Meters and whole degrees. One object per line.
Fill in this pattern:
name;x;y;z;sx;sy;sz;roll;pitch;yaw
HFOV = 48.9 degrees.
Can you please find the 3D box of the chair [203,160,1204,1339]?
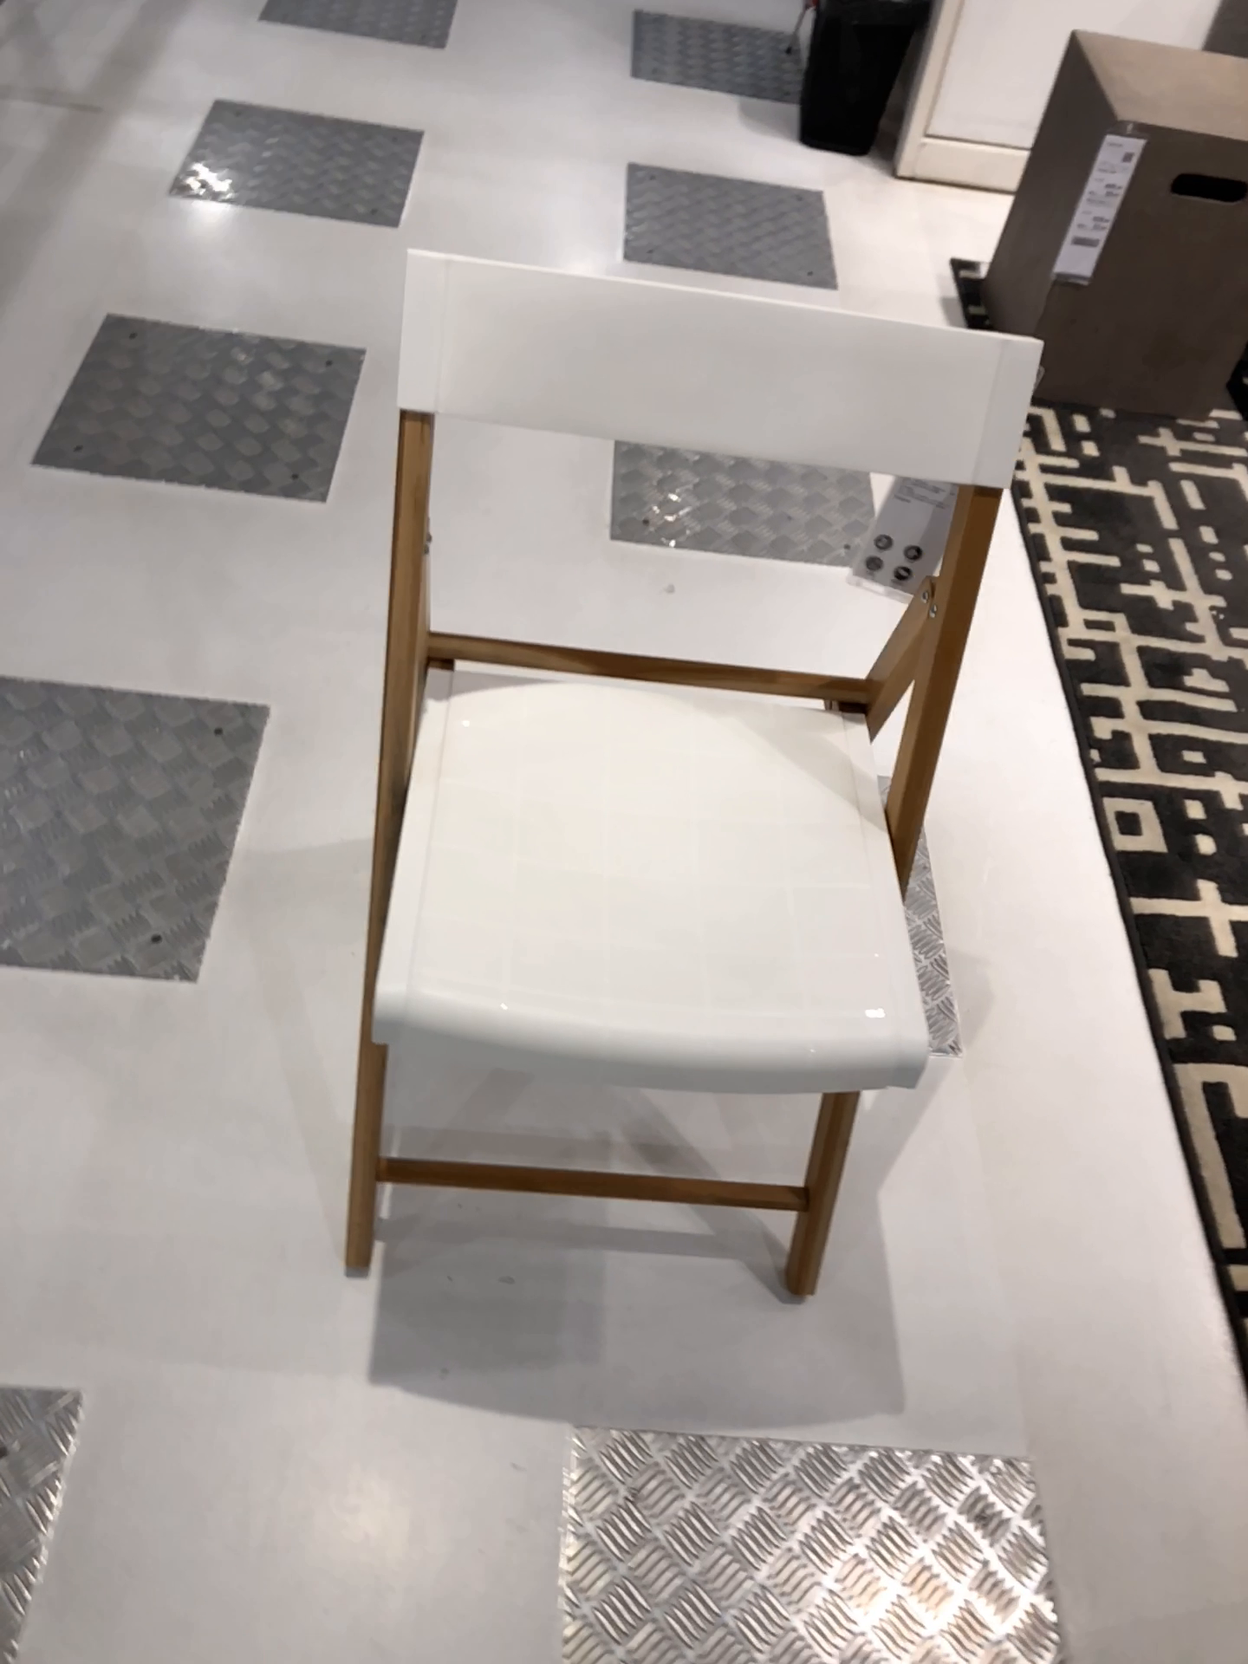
chair;0.001;-0.019;1.081;0.470;0.705;0.554;5;49;-6
